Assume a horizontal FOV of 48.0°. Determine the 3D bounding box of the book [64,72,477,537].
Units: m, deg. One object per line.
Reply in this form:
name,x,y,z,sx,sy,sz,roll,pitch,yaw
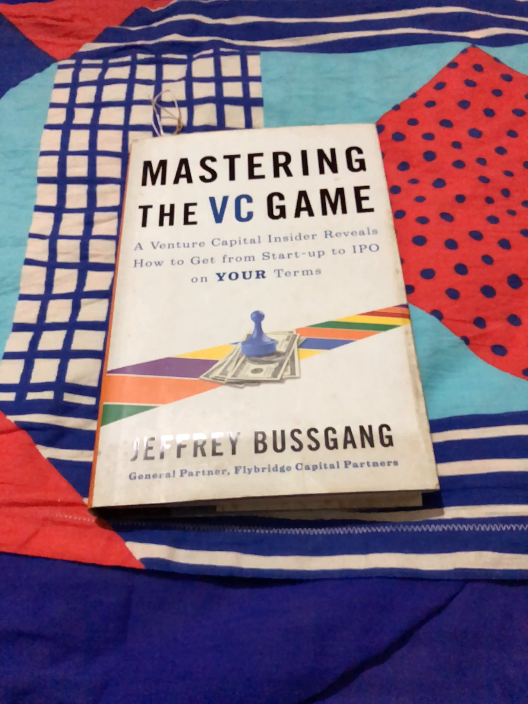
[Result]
book,0.000,-0.044,0.347,0.180,0.050,0.281,-3,61,3
